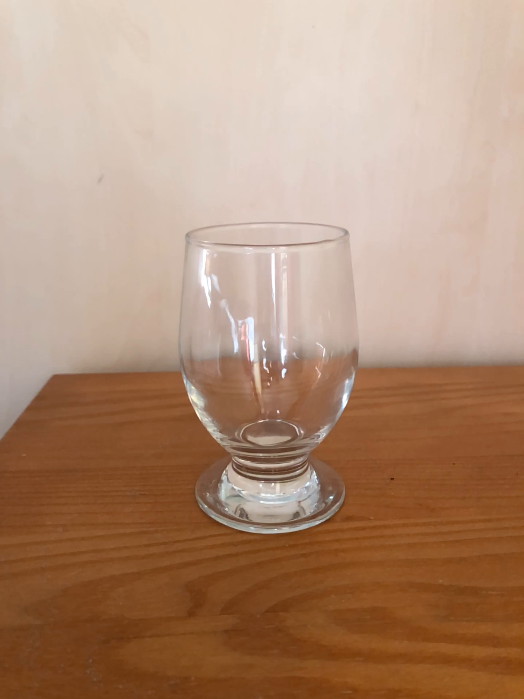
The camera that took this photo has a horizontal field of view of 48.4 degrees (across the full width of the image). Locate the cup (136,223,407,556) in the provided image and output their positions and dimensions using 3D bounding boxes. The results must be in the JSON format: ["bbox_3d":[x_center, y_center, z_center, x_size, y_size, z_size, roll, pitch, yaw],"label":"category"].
[{"bbox_3d":[-0.002,0.007,0.244,0.078,0.107,0.082,1,18,0],"label":"cup"}]
